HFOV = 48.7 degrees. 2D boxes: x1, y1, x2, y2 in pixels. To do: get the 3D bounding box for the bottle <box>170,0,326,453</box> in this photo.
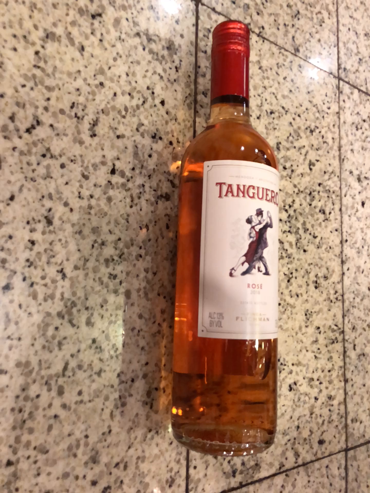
[{"bbox_3d":[0.049,-0.035,0.302,0.090,0.060,0.320,7,81,-36],"label":"bottle"}]
